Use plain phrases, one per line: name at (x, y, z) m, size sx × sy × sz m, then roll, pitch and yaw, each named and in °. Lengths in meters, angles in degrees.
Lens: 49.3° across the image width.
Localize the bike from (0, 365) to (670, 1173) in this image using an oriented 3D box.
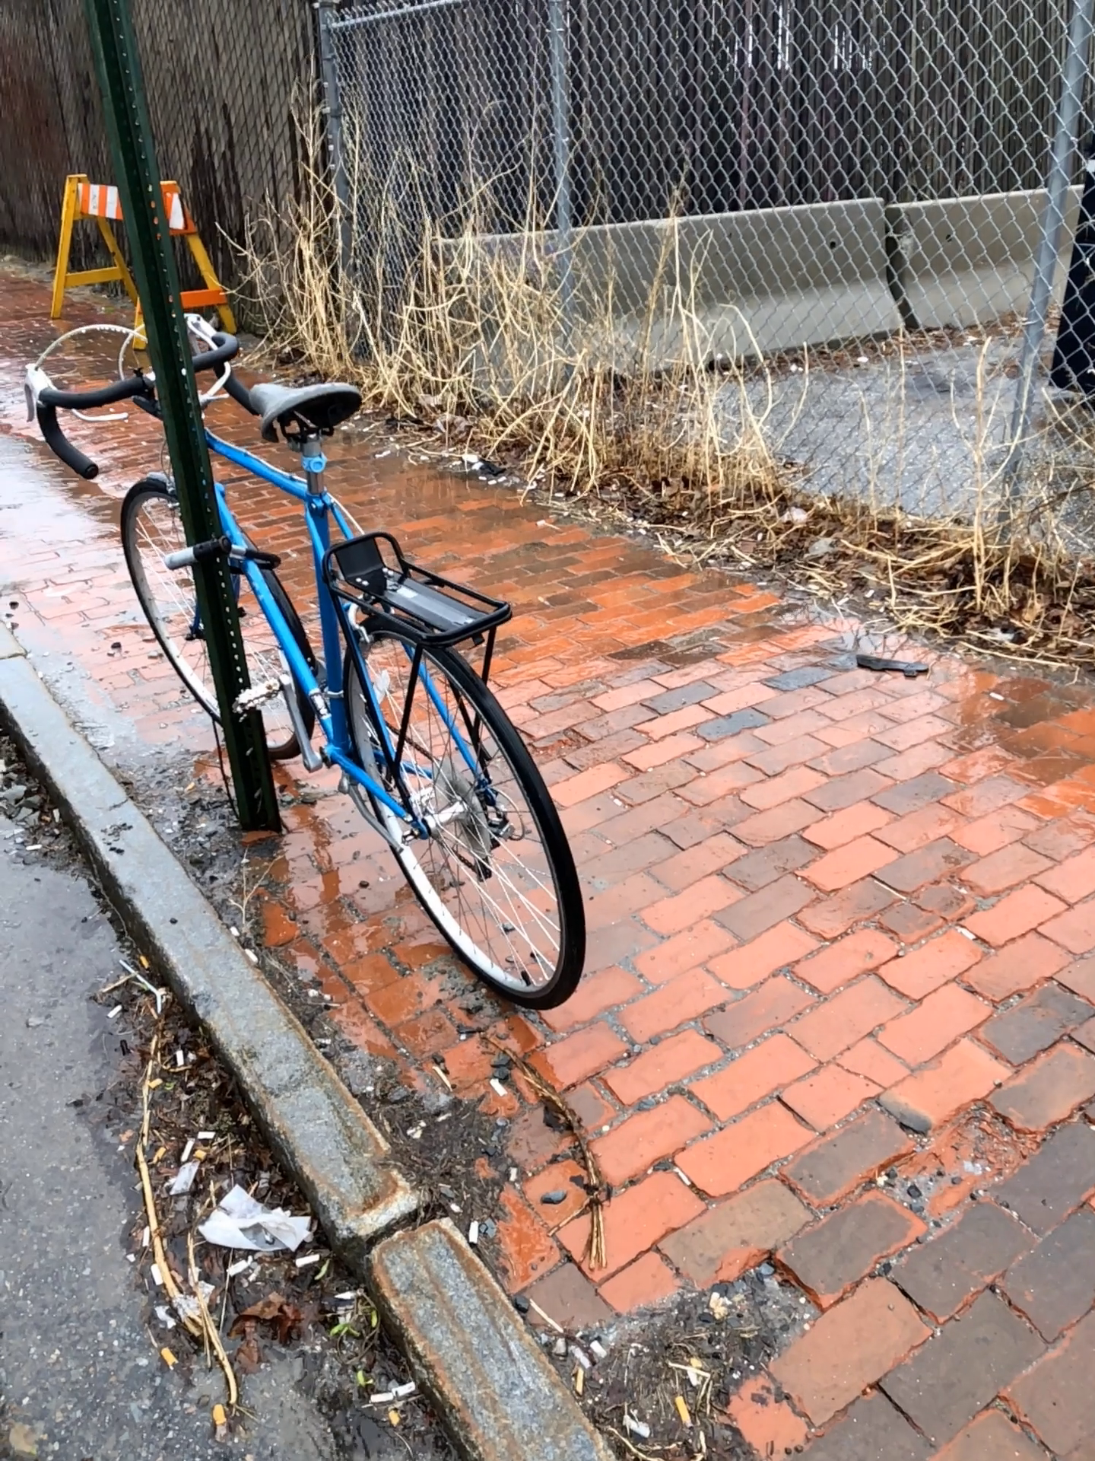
bike at (-0.558, -0.124, 2.449) m, size 0.473 × 0.920 × 1.871 m, roll -20°, pitch 32°, yaw -32°
